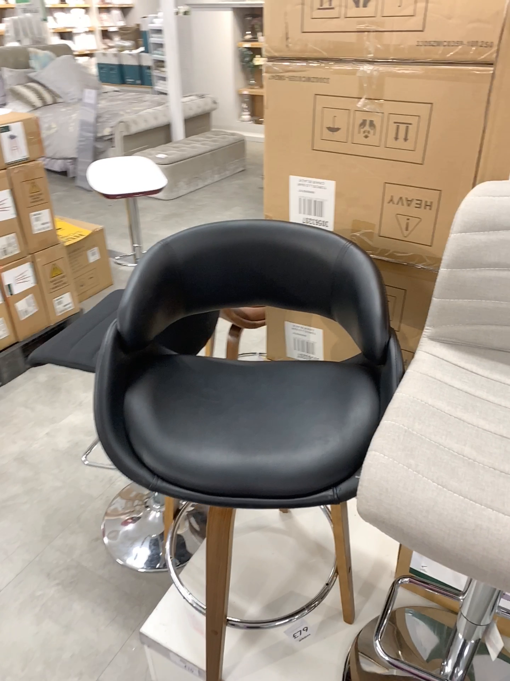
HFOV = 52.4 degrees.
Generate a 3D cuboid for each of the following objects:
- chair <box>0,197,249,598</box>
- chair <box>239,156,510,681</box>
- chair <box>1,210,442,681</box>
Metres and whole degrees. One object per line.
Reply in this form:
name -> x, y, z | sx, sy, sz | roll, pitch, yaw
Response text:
chair -> -0.333, 0.159, 1.568 | 0.467, 1.017, 0.488 | 12, 30, 19
chair -> 0.272, 0.287, 0.809 | 0.435, 0.967, 0.440 | 17, 35, 23
chair -> -0.015, 0.263, 1.127 | 0.564, 0.897, 0.552 | -3, 32, 3
